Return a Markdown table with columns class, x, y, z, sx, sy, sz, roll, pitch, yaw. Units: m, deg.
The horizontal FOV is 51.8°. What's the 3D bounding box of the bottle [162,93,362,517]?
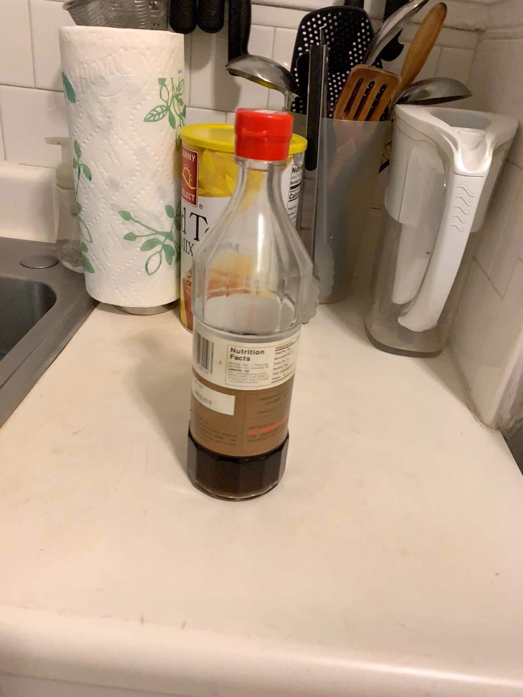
| class | x | y | z | sx | sy | sz | roll | pitch | yaw |
| --- | --- | --- | --- | --- | --- | --- | --- | --- | --- |
| bottle | -0.014 | -0.017 | 0.353 | 0.090 | 0.258 | 0.091 | 5 | 30 | -3 |
